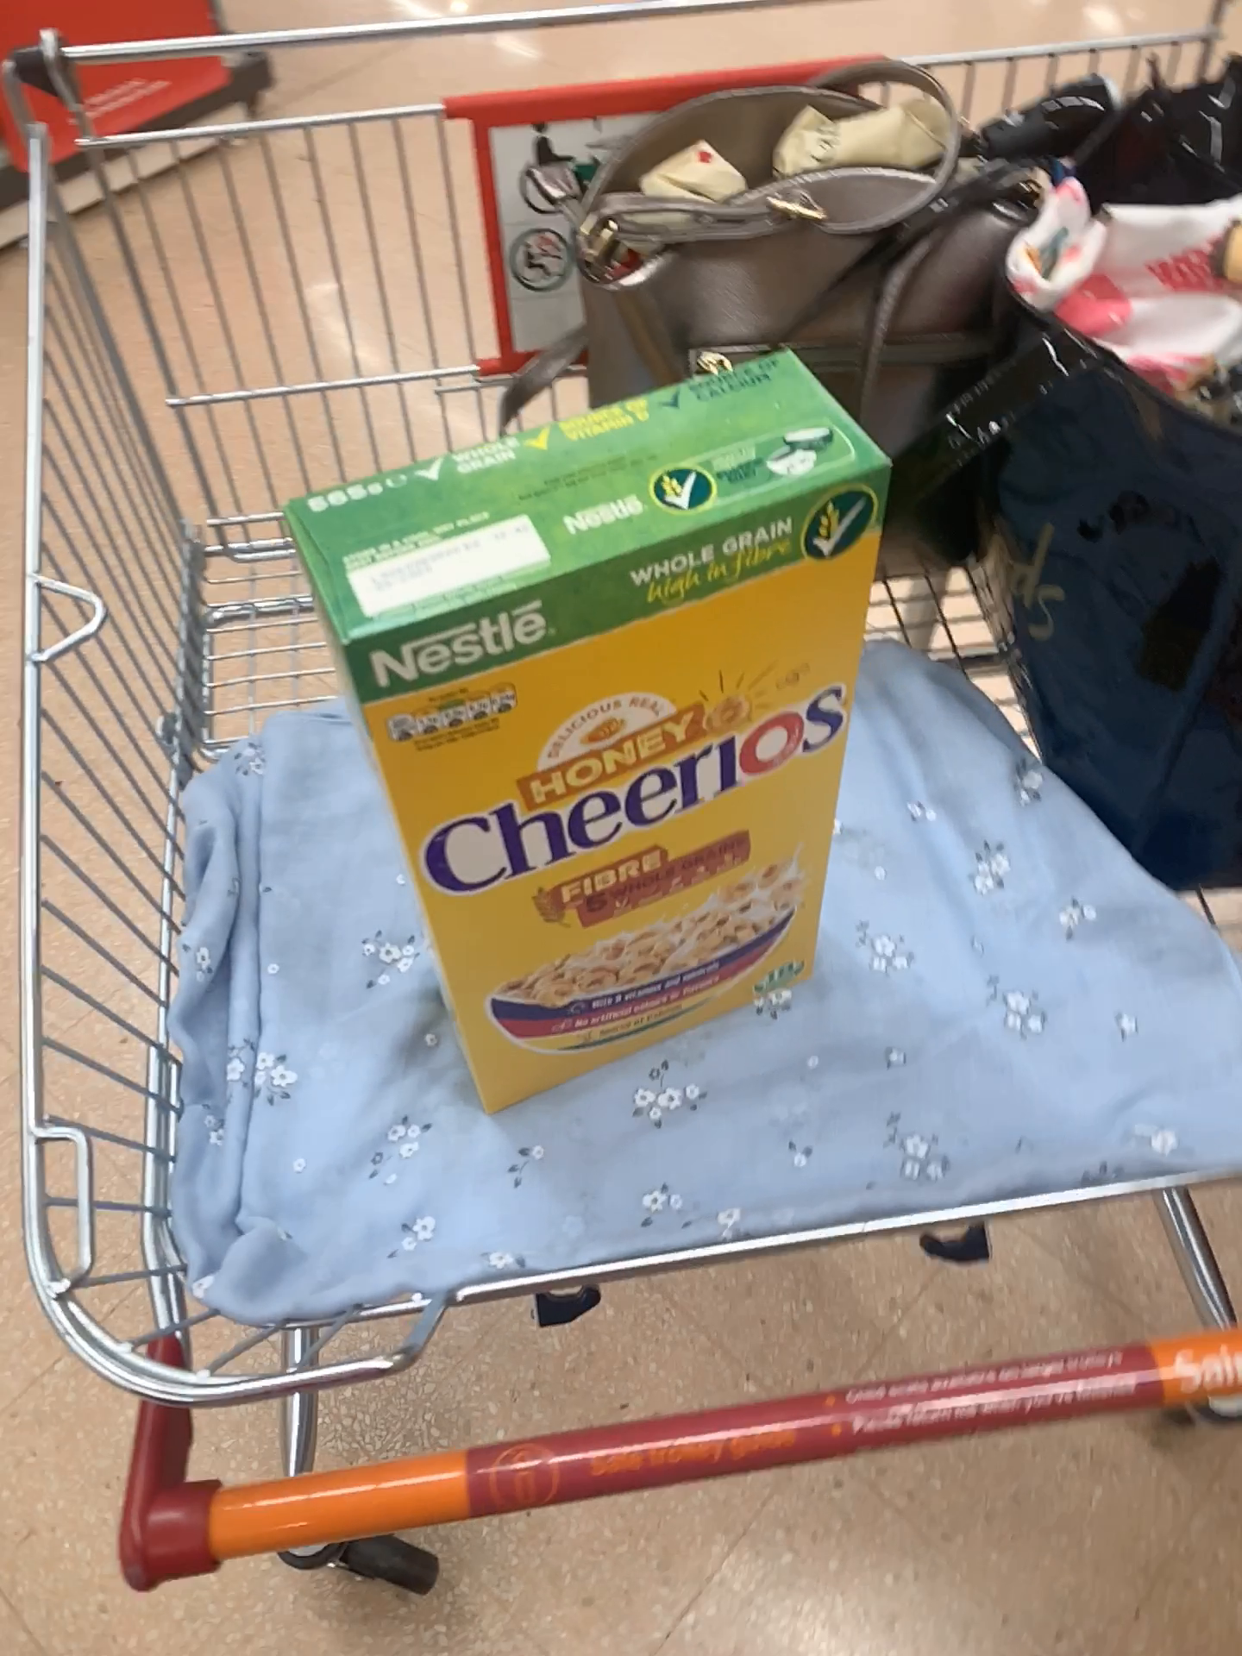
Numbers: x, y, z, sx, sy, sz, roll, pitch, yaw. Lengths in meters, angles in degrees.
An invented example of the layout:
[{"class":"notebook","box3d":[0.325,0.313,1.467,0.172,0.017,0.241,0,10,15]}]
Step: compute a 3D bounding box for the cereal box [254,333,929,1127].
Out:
[{"class":"cereal box","box3d":[-0.005,-0.014,0.559,0.210,0.347,0.081,-21,56,-13]}]
